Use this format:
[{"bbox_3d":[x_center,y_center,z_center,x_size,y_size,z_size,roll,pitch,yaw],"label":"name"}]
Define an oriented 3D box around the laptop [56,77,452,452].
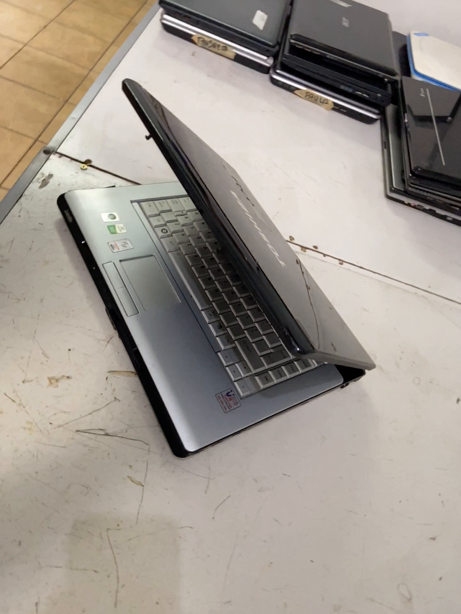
[{"bbox_3d":[0.000,-0.073,0.515,0.258,0.152,0.346,-15,61,-32],"label":"laptop"}]
